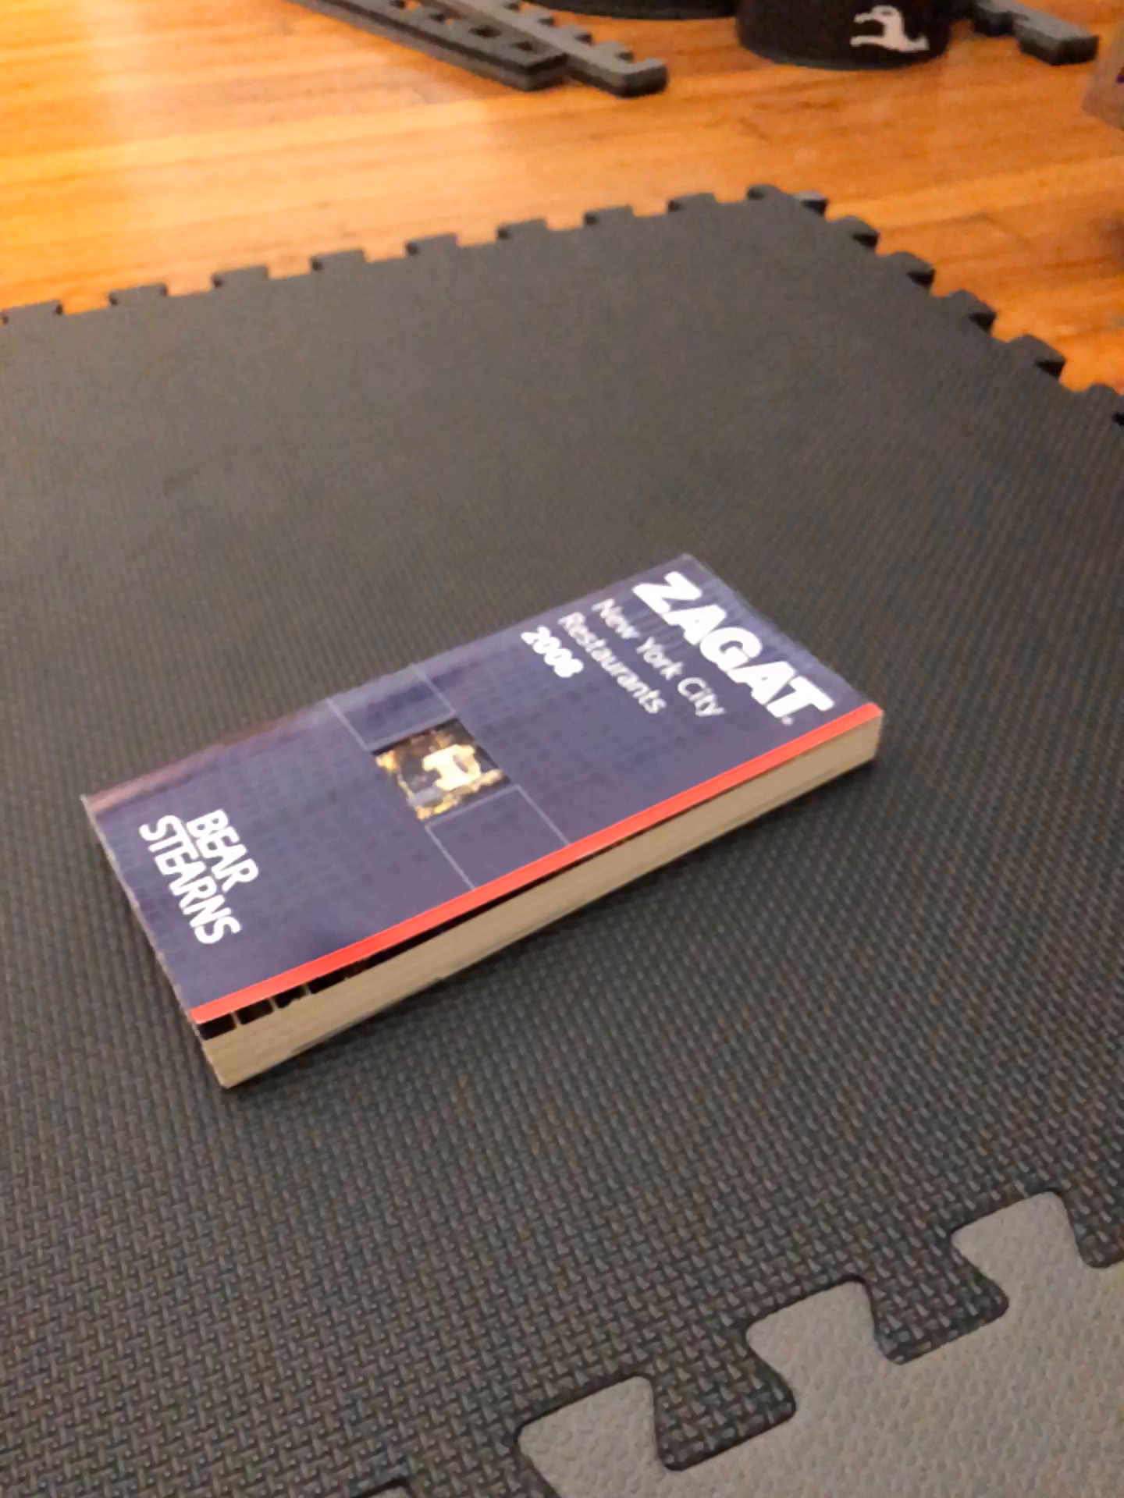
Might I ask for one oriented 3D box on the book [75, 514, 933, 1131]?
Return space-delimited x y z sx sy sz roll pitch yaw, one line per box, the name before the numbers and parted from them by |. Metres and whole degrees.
book | -0.015 0.006 0.377 0.220 0.030 0.120 -24 49 -22
